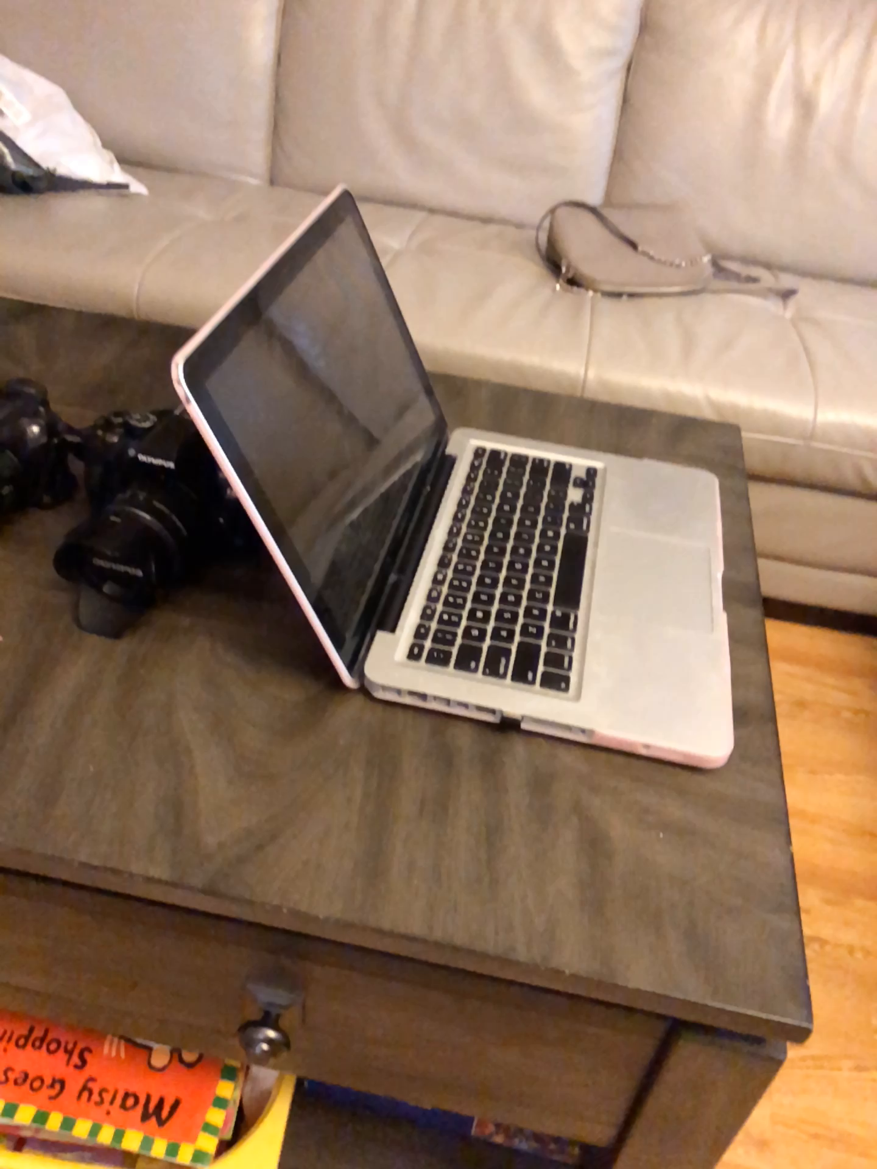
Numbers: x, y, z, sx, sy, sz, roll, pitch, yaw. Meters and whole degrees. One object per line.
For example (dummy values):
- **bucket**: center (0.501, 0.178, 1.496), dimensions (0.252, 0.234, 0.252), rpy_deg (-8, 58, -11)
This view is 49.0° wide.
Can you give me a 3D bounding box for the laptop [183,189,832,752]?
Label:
- **laptop**: center (0.049, -0.099, 0.647), dimensions (0.321, 0.185, 0.314), rpy_deg (11, 39, 5)
